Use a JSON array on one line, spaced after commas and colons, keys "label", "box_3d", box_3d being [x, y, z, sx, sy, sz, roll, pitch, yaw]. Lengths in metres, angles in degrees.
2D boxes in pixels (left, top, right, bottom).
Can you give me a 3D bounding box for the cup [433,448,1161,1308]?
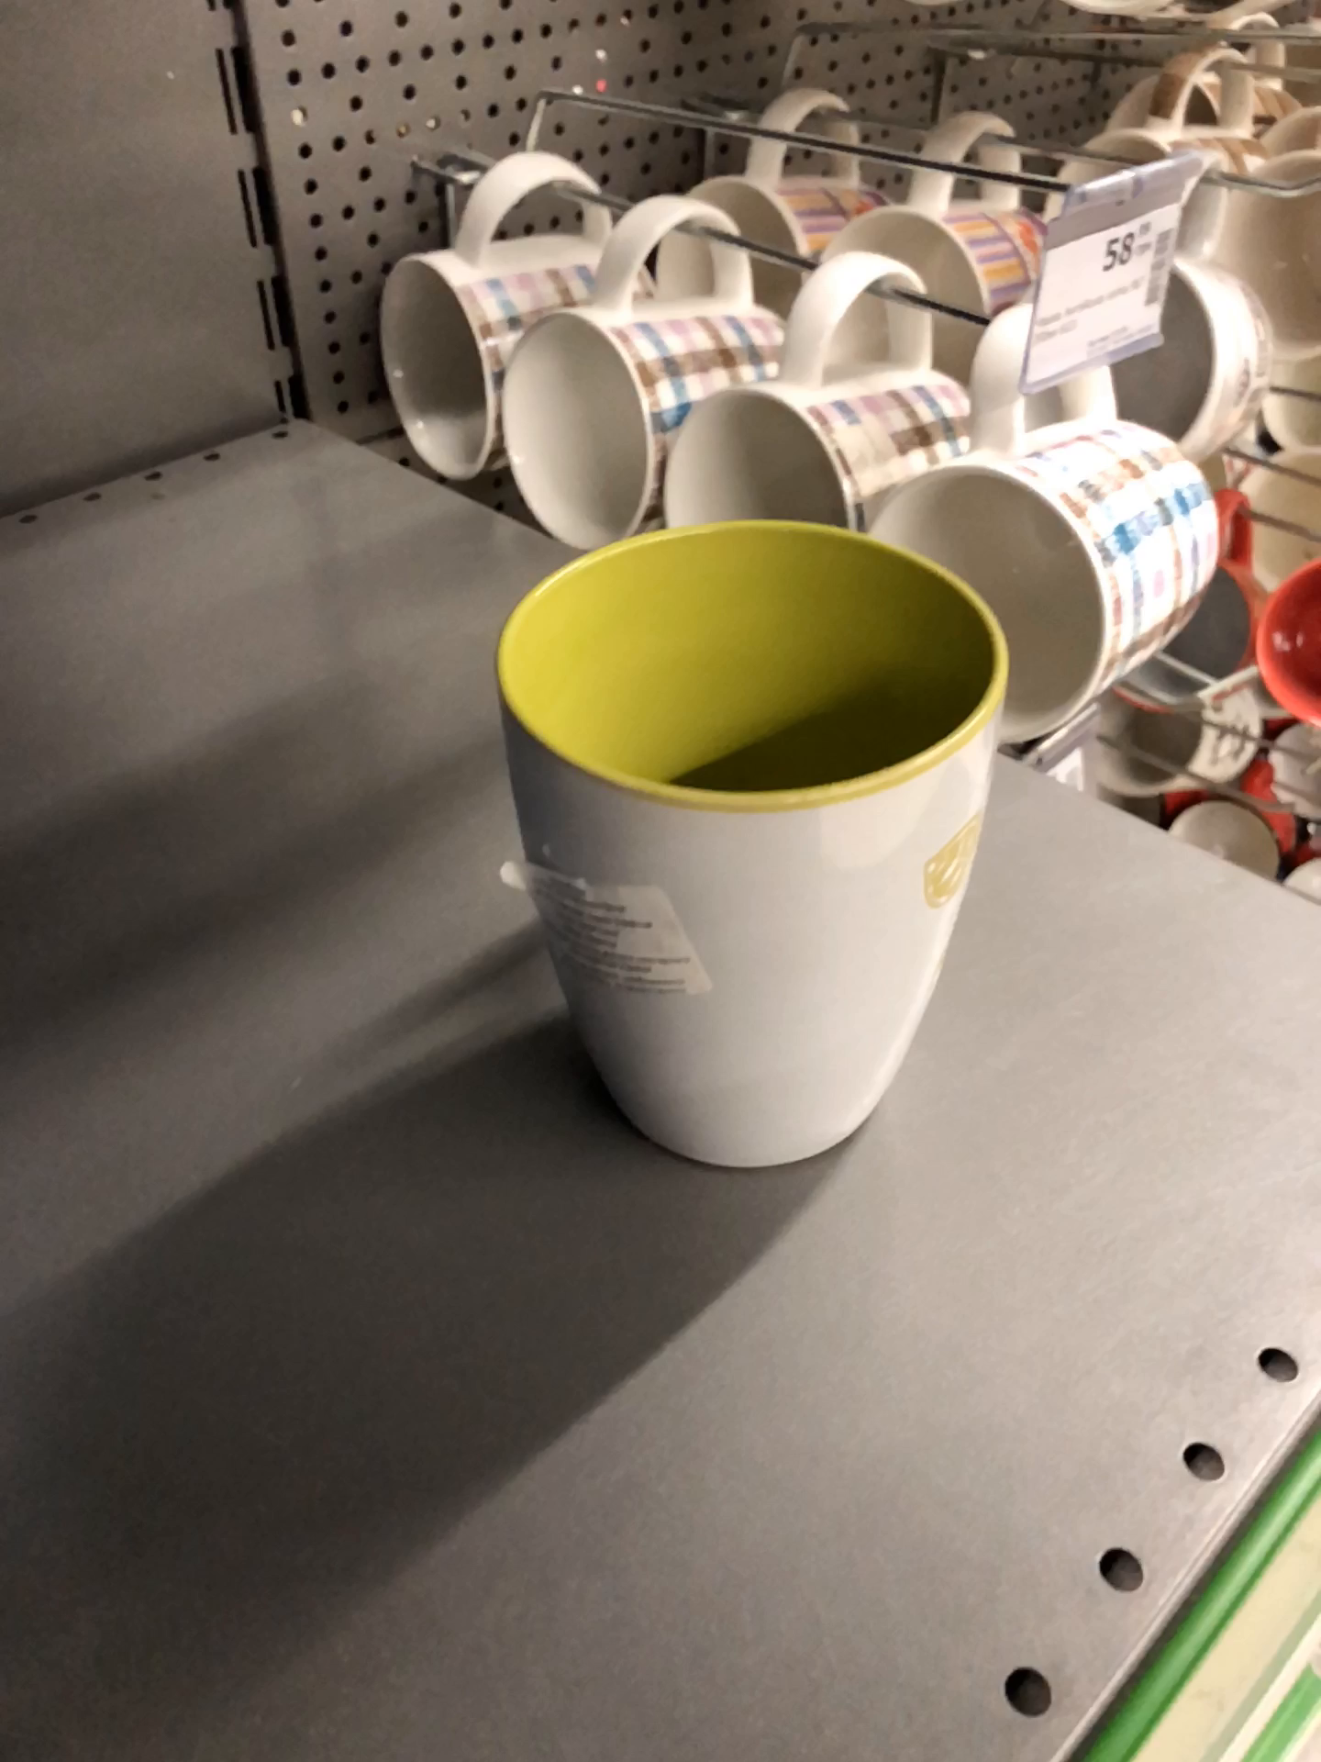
[{"label": "cup", "box_3d": [0.014, -0.008, 0.282, 0.094, 0.095, 0.127, -8, 40, -9]}]
